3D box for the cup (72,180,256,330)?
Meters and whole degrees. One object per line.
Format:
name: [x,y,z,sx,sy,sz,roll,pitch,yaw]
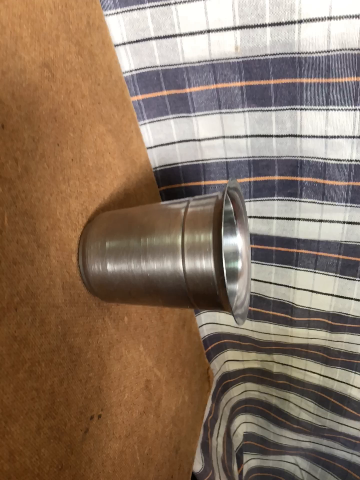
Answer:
cup: [-0.003,0.006,0.231,0.070,0.080,0.070,-4,90,-72]
